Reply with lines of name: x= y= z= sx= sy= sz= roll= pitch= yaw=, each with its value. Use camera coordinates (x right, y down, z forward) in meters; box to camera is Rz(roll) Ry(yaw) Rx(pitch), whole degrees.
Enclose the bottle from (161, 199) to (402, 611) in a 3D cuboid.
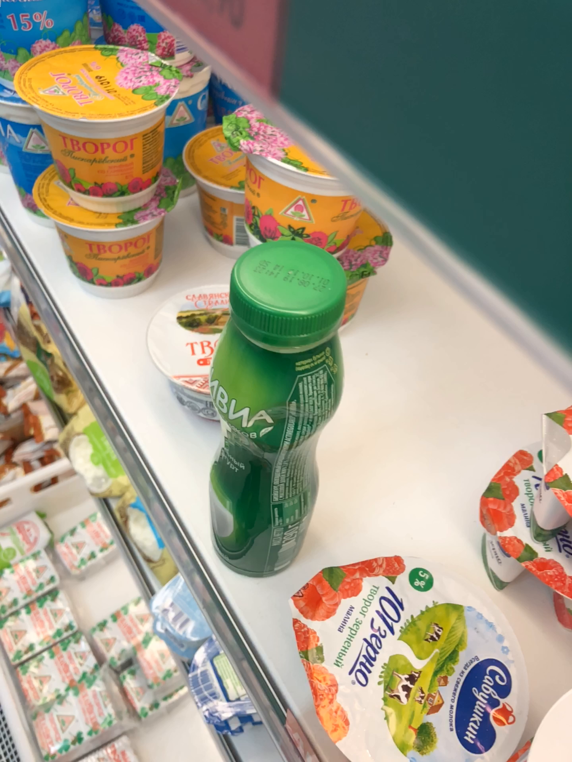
bottle: x=-0.011 y=0.025 z=0.280 sx=0.060 sy=0.189 sz=0.070 roll=-12 pitch=52 yaw=-15
